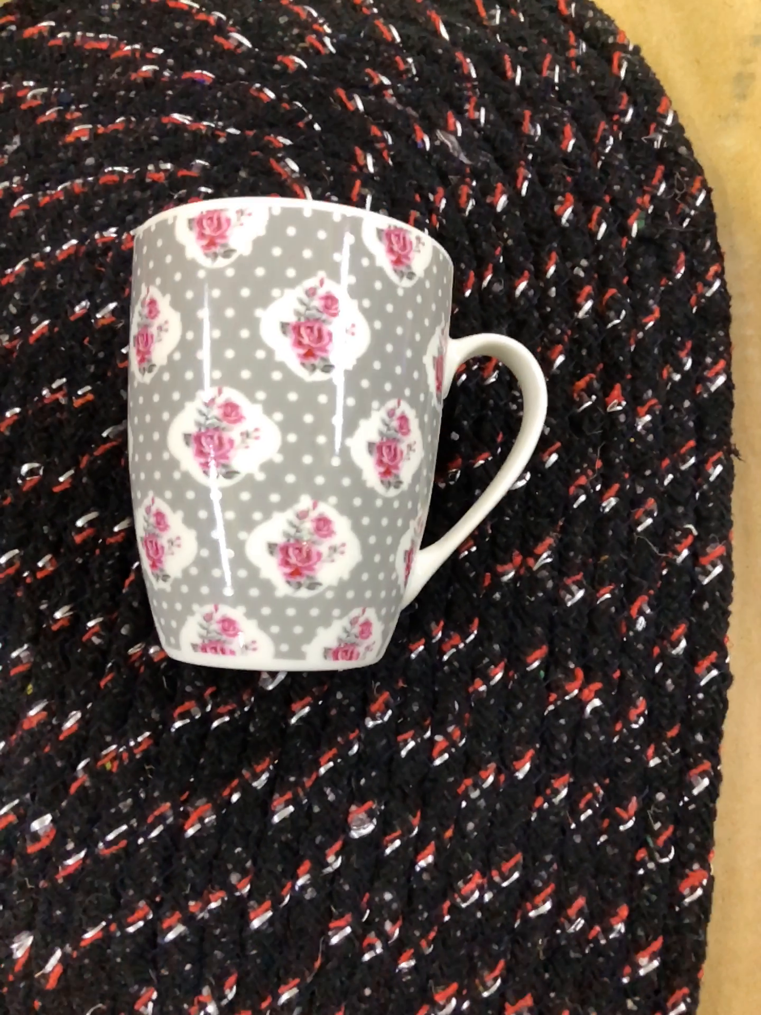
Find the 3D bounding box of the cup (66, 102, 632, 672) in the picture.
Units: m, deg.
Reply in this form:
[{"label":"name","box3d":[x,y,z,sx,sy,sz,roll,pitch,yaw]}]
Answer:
[{"label":"cup","box3d":[-0.015,-0.018,0.212,0.110,0.090,0.100,0,90,-19]}]
